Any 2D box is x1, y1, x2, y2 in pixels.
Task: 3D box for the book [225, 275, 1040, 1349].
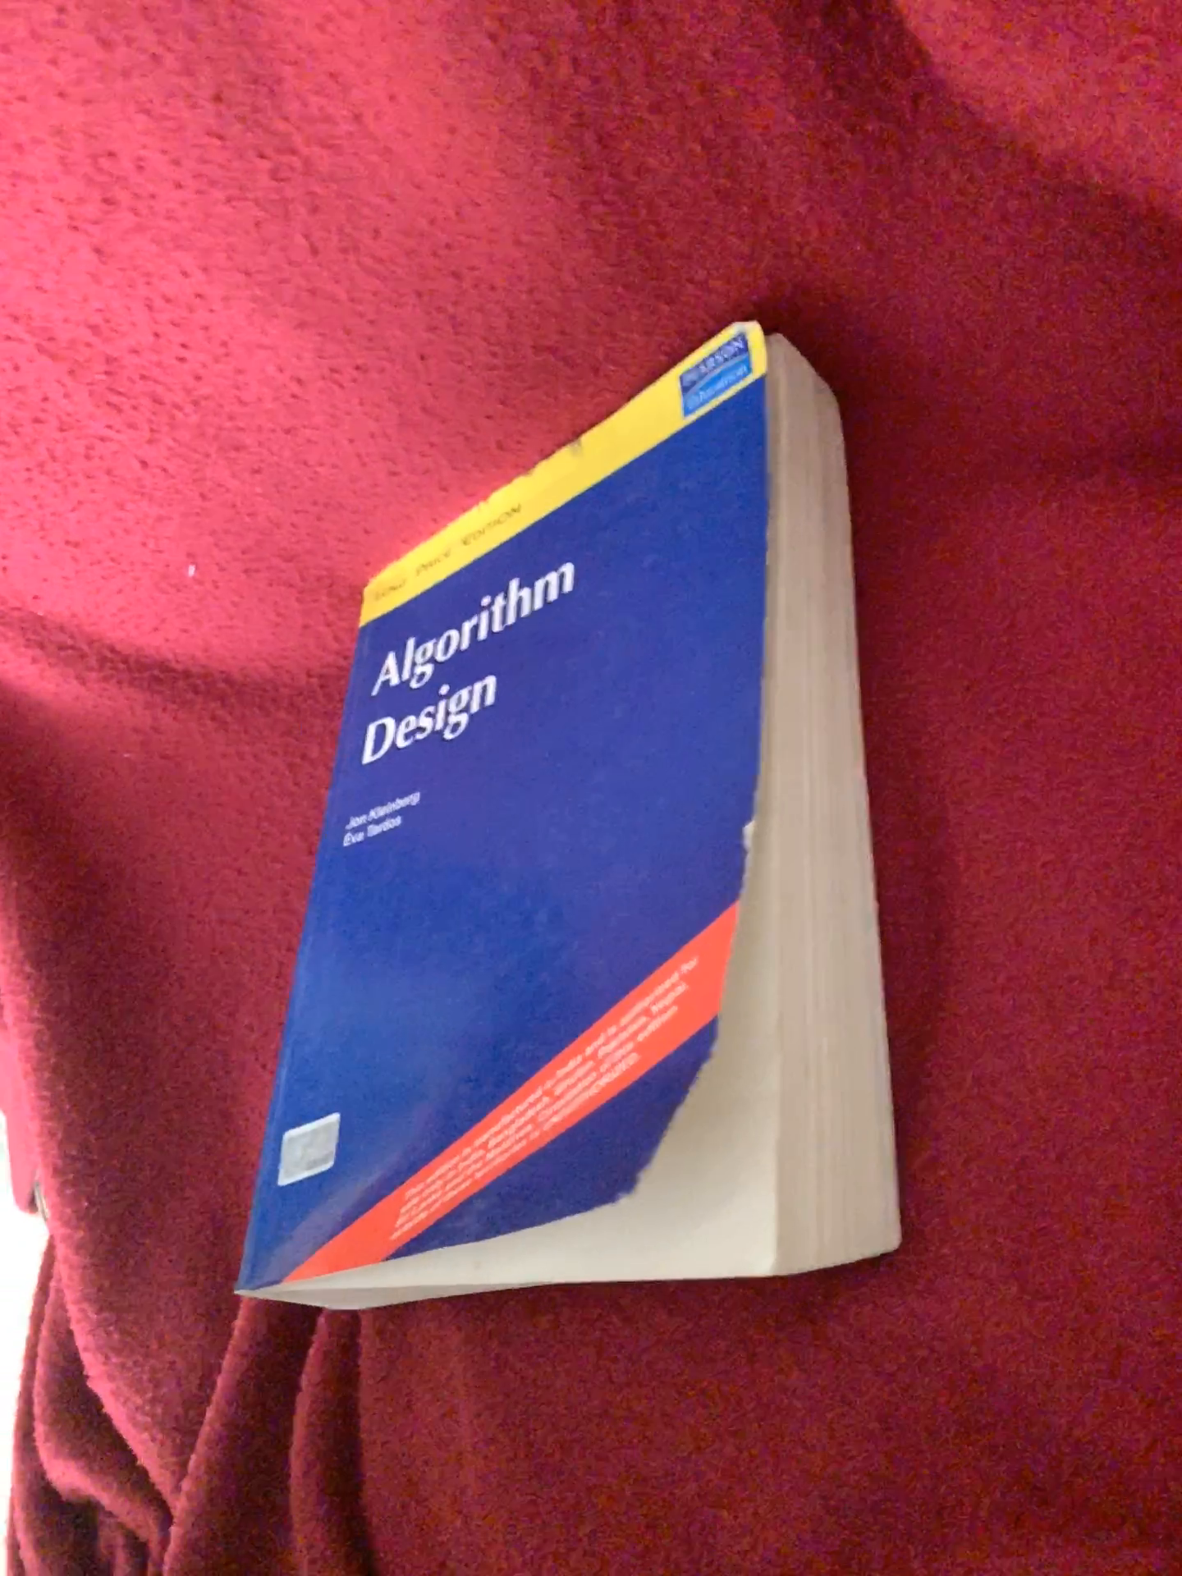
[{"bbox_3d":[0.002,0.013,0.337,0.190,0.060,0.251,-22,53,37],"label":"book"}]
